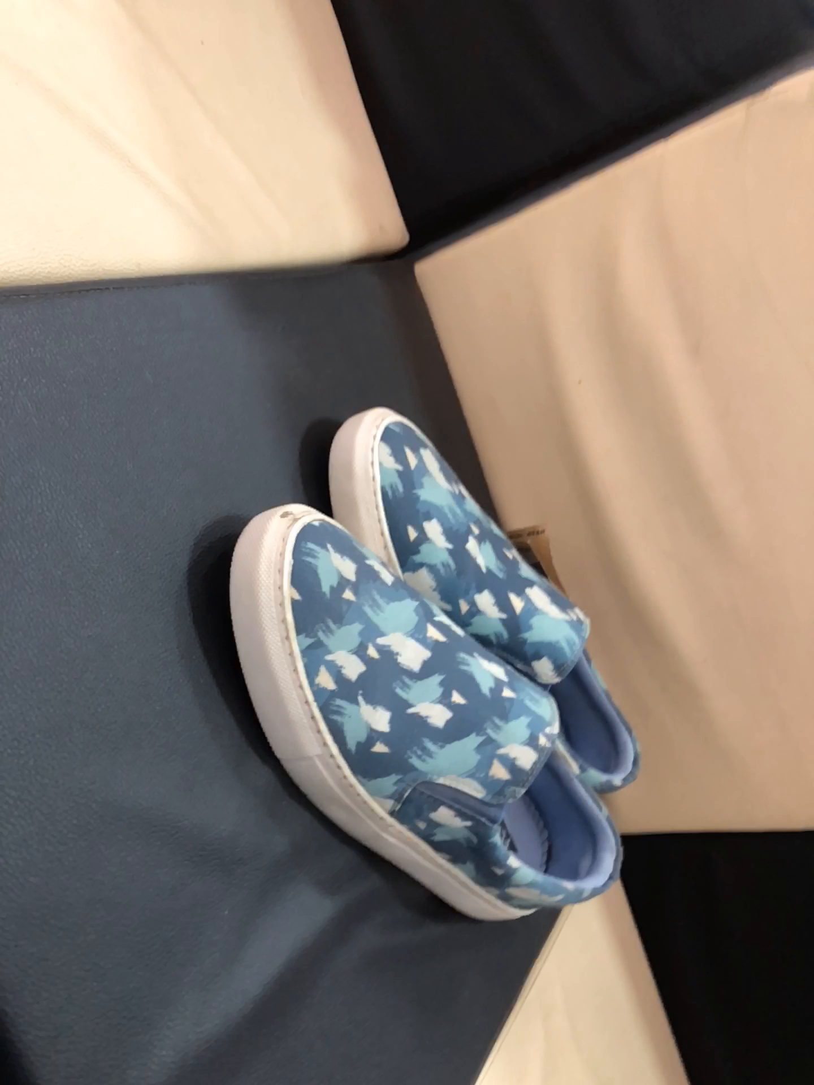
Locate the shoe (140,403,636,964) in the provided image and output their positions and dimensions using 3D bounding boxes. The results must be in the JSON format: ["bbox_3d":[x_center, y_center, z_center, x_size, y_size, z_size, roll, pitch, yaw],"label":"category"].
[{"bbox_3d":[0.015,0.086,0.458,0.281,0.089,0.120,55,39,-30],"label":"shoe"}]

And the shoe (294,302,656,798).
[{"bbox_3d":[0.058,0.018,0.516,0.281,0.060,0.110,55,39,-30],"label":"shoe"}]
